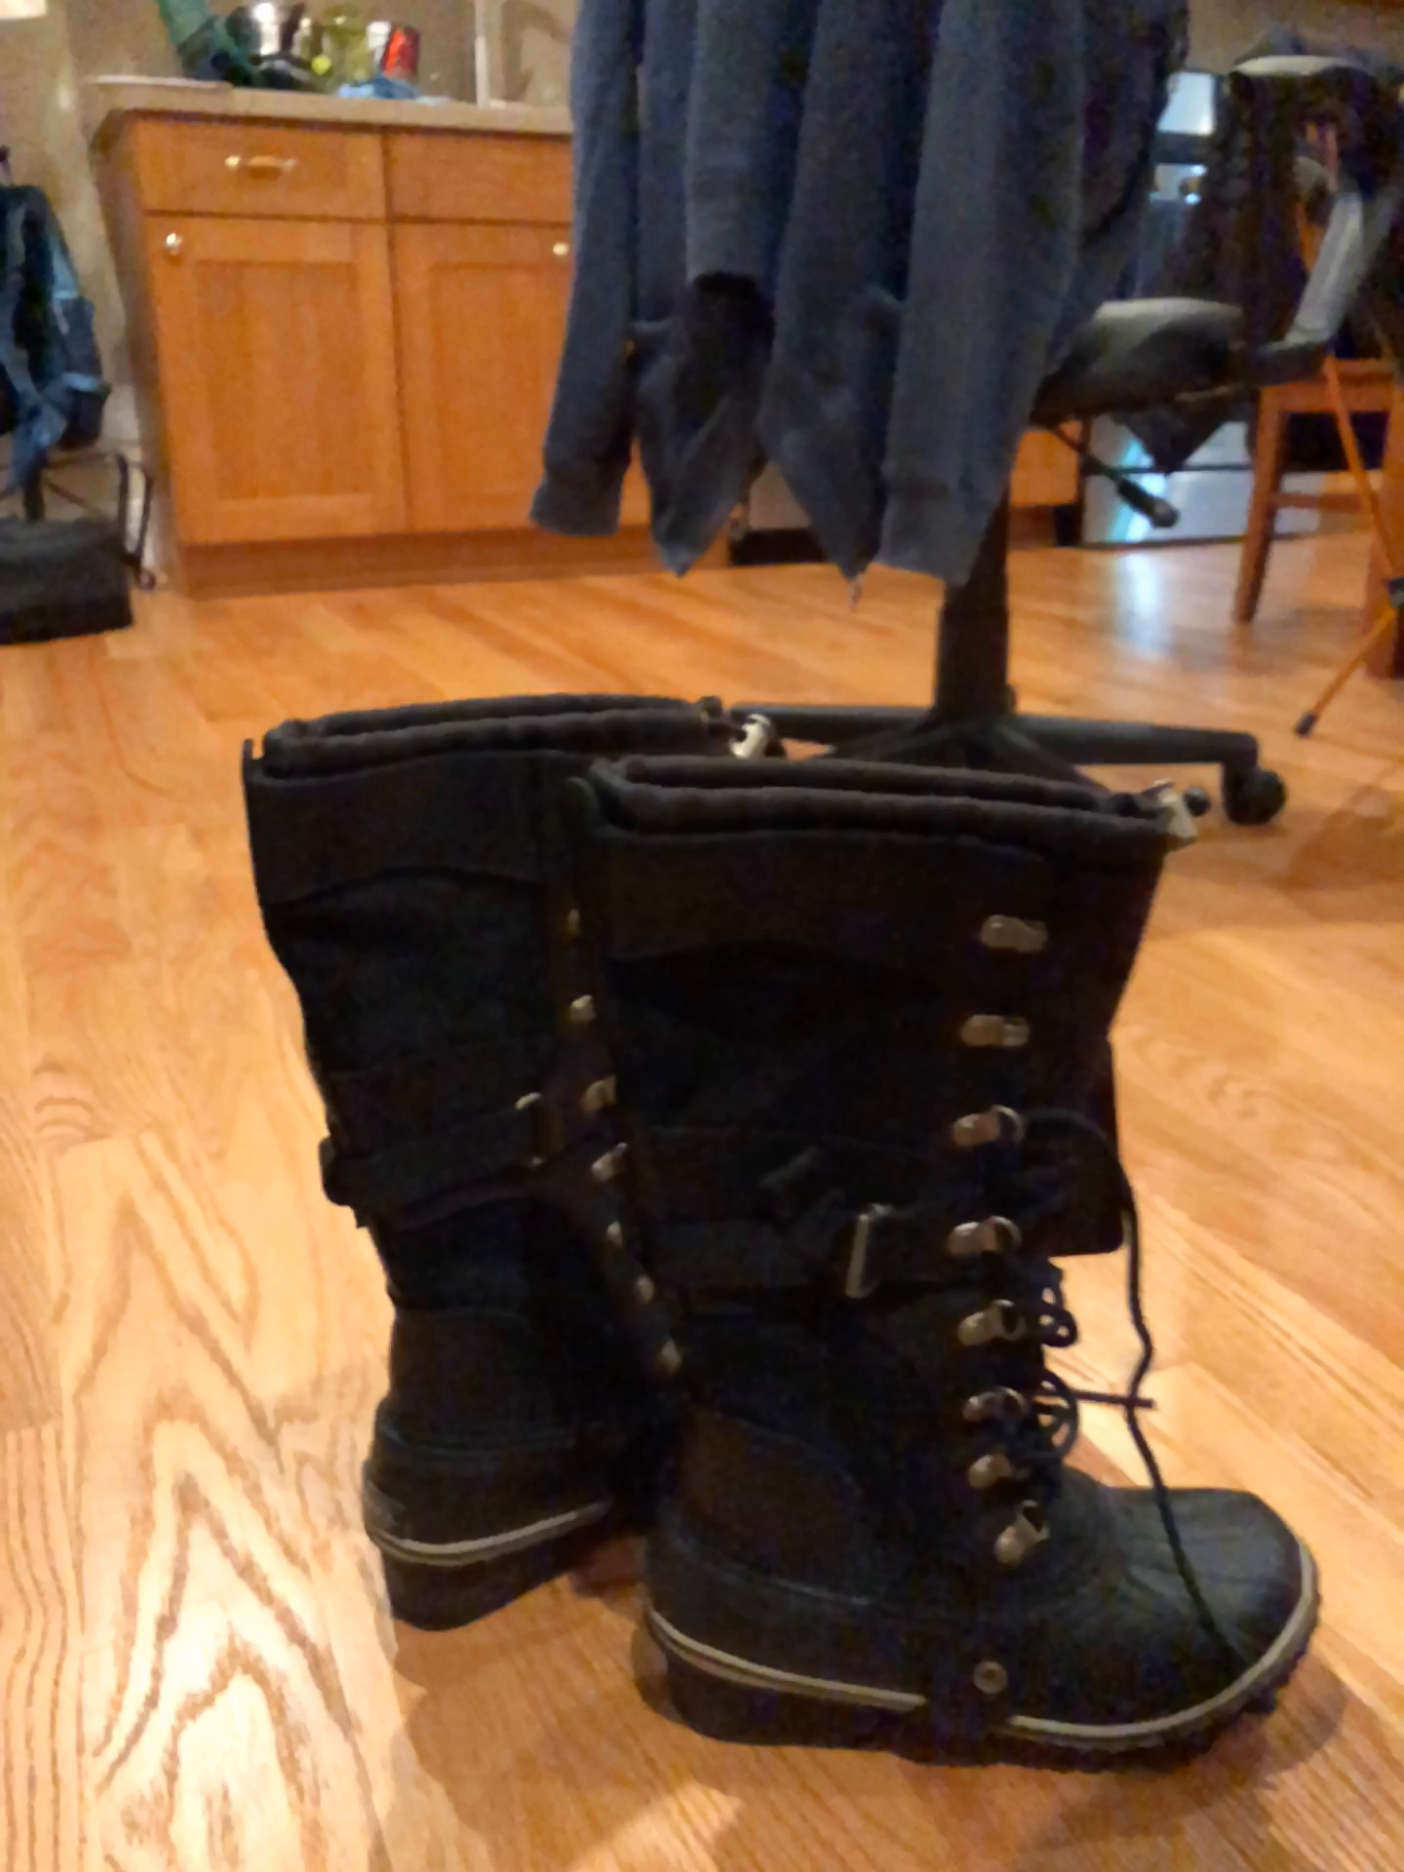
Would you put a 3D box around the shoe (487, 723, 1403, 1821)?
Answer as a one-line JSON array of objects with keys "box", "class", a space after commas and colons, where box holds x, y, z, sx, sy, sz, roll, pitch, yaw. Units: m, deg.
[{"box": [0.072, 0.101, 0.491, 0.260, 0.309, 0.100, -3, 20, -8], "class": "shoe"}]

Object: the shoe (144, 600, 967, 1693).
[{"box": [-0.040, 0.059, 0.578, 0.260, 0.328, 0.100, -14, 24, -33], "class": "shoe"}]
